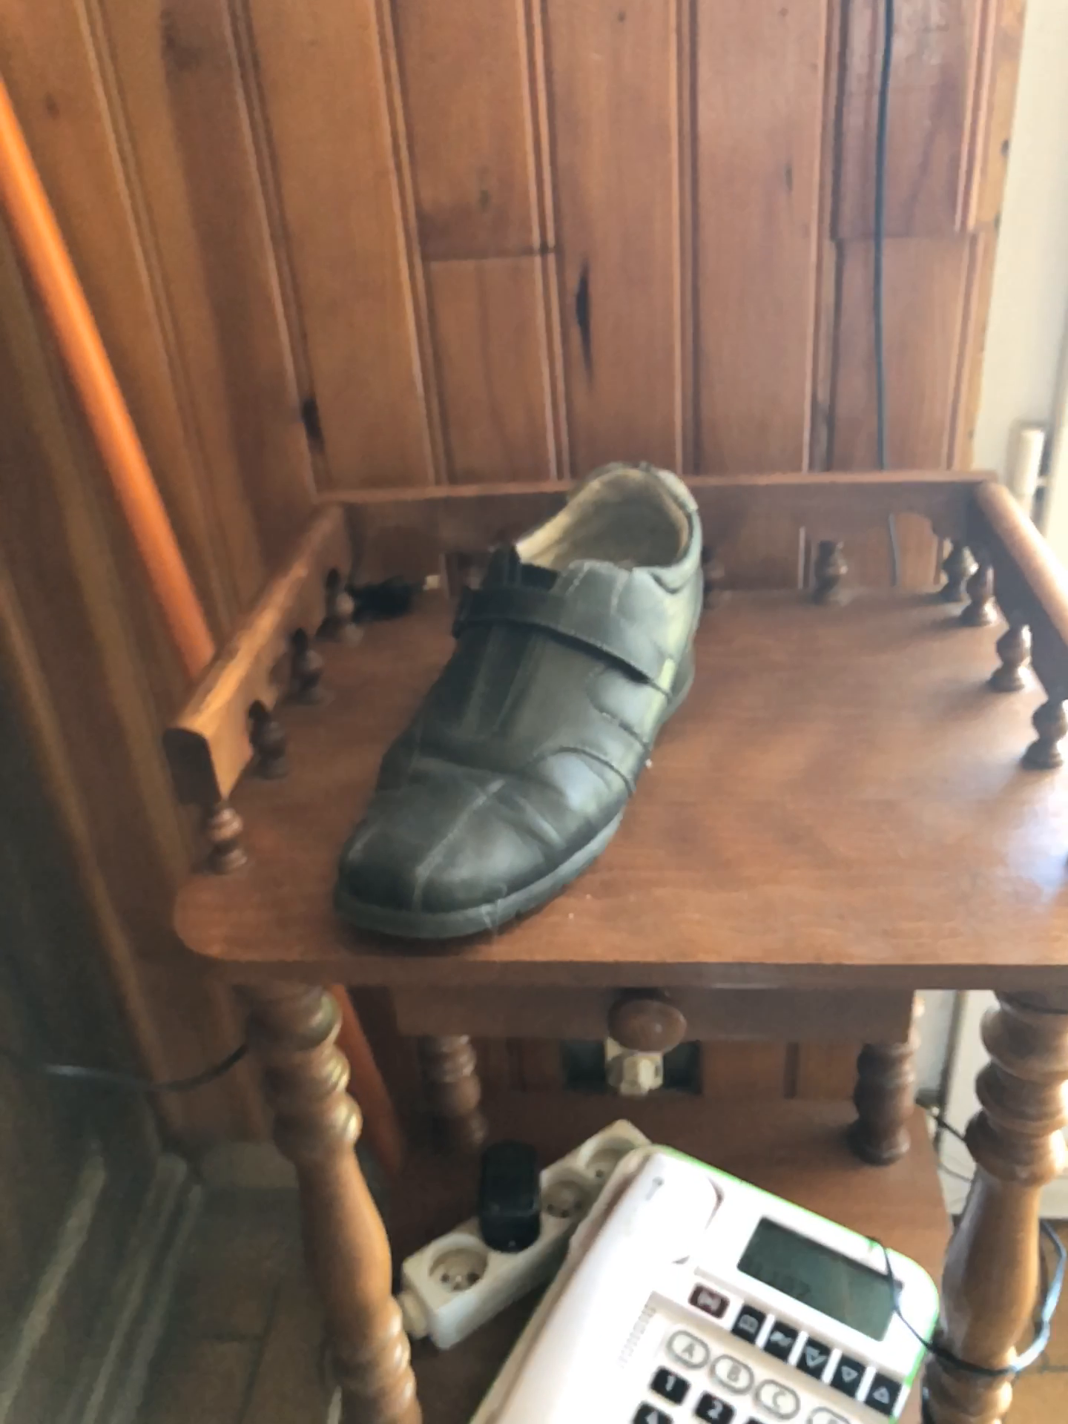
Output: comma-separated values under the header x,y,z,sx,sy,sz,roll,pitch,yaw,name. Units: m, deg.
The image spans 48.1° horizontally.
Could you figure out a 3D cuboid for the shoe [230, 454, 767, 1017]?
x,y,z,sx,sy,sz,roll,pitch,yaw,name
0.006,-0.012,0.488,0.100,0.099,0.252,12,35,25,shoe
